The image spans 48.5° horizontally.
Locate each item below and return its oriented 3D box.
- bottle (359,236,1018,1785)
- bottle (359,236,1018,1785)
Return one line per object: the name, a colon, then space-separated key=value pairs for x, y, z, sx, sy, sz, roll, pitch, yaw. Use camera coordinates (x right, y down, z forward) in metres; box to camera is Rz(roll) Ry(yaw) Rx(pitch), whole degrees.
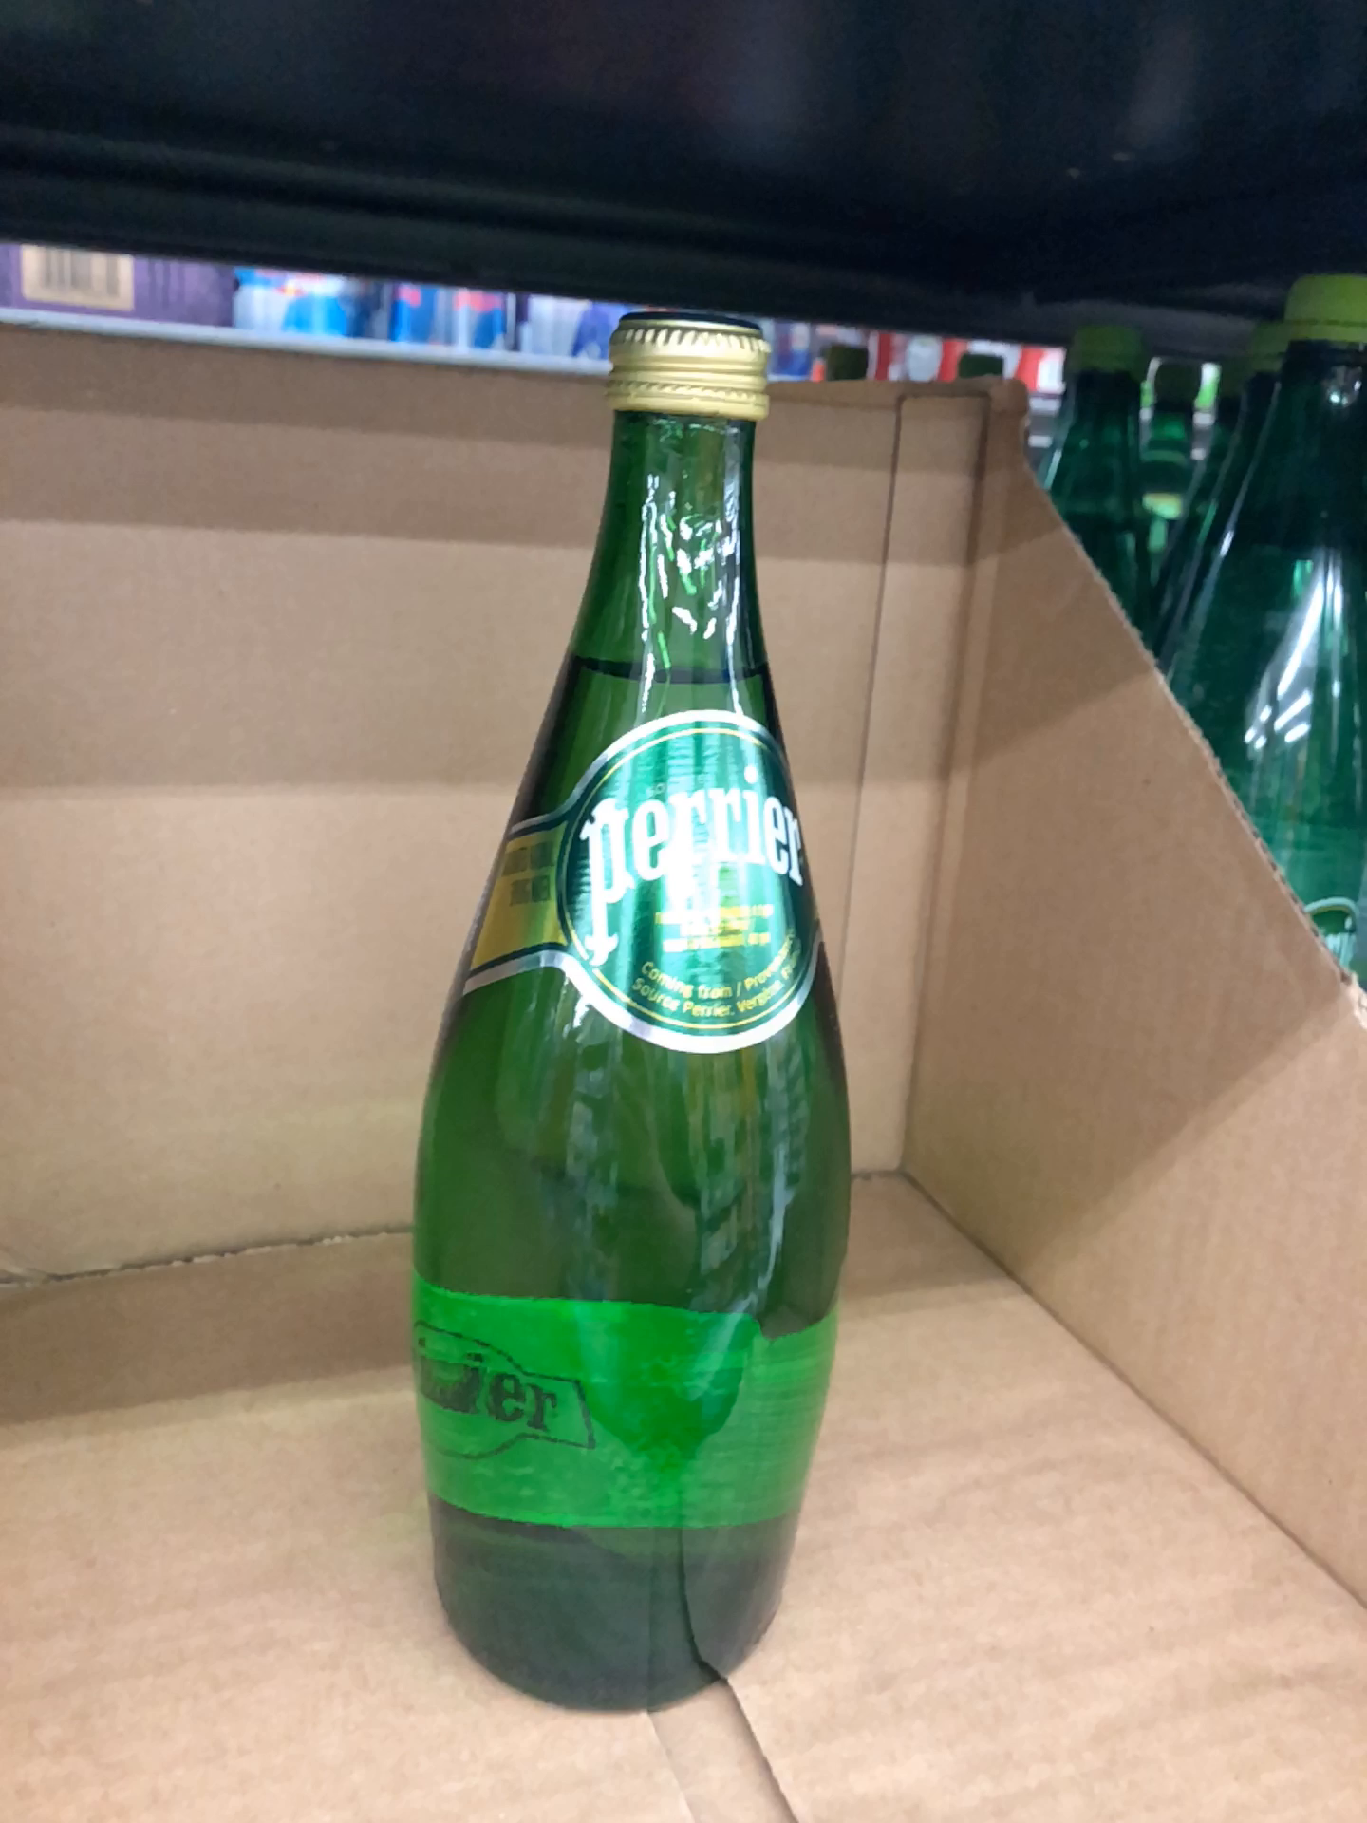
bottle: x=-0.011 y=0.021 z=0.299 sx=0.090 sy=0.269 sz=0.080 roll=-2 pitch=17 yaw=-21
bottle: x=-0.011 y=0.021 z=0.299 sx=0.090 sy=0.269 sz=0.080 roll=-2 pitch=17 yaw=-21
